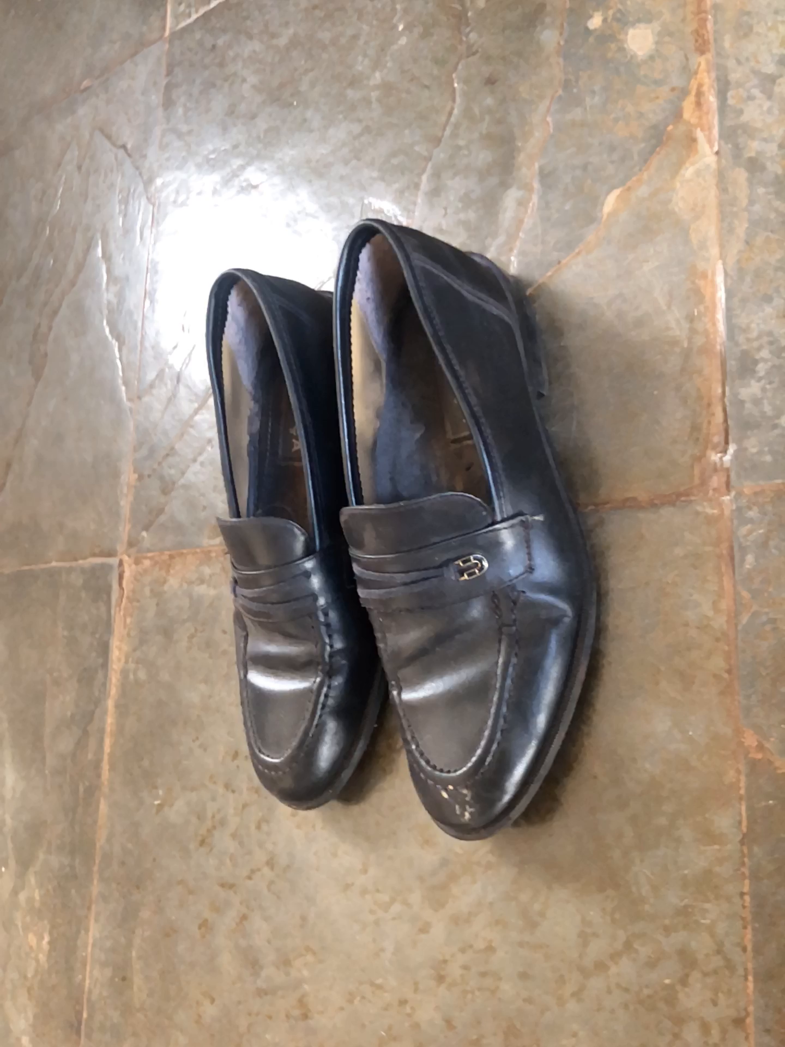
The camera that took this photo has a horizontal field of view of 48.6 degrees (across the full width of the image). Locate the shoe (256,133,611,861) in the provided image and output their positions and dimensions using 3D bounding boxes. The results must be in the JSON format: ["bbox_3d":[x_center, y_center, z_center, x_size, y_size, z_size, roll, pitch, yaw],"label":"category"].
[{"bbox_3d":[0.015,-0.006,0.369,0.100,0.100,0.260,-11,74,36],"label":"shoe"}]

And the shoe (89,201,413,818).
[{"bbox_3d":[-0.064,-0.002,0.429,0.100,0.100,0.260,-6,77,37],"label":"shoe"}]
